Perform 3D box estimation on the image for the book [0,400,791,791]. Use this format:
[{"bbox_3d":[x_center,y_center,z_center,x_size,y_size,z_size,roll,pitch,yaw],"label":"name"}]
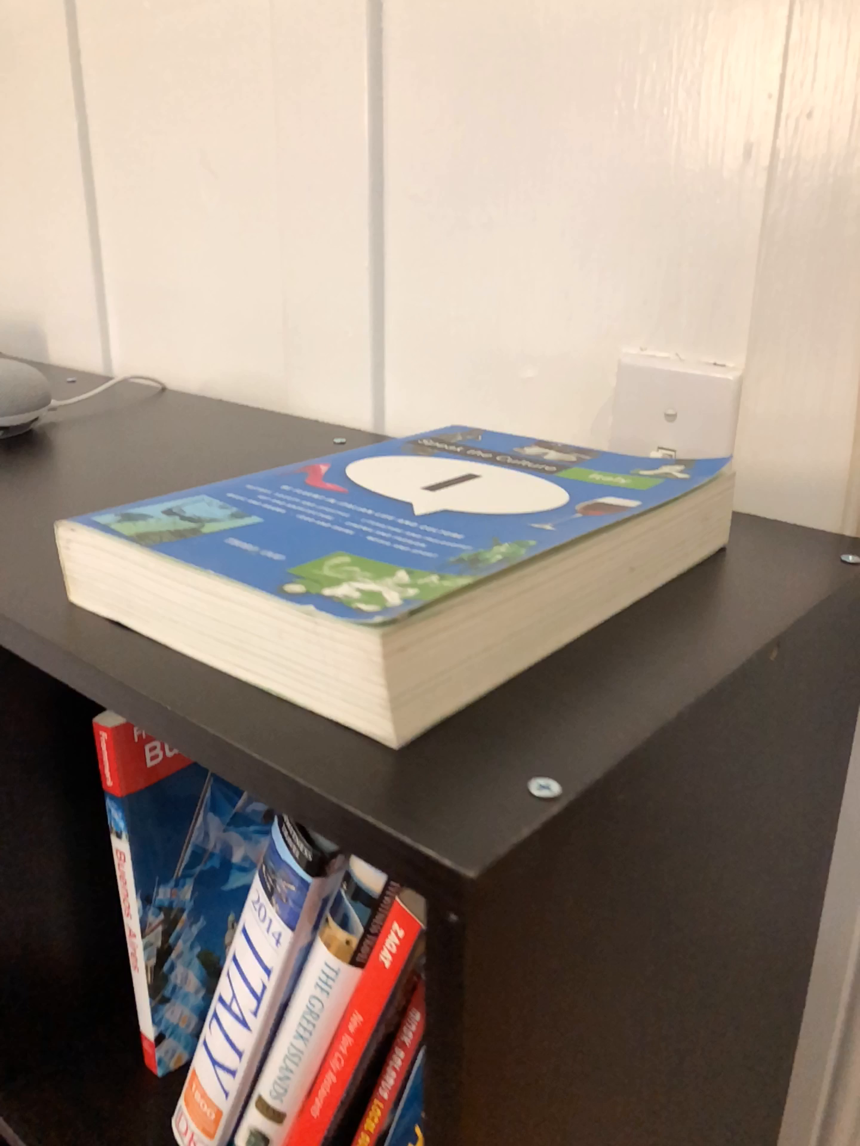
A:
[{"bbox_3d":[-0.007,-0.022,0.367,0.200,0.030,0.261,16,25,35],"label":"book"}]
